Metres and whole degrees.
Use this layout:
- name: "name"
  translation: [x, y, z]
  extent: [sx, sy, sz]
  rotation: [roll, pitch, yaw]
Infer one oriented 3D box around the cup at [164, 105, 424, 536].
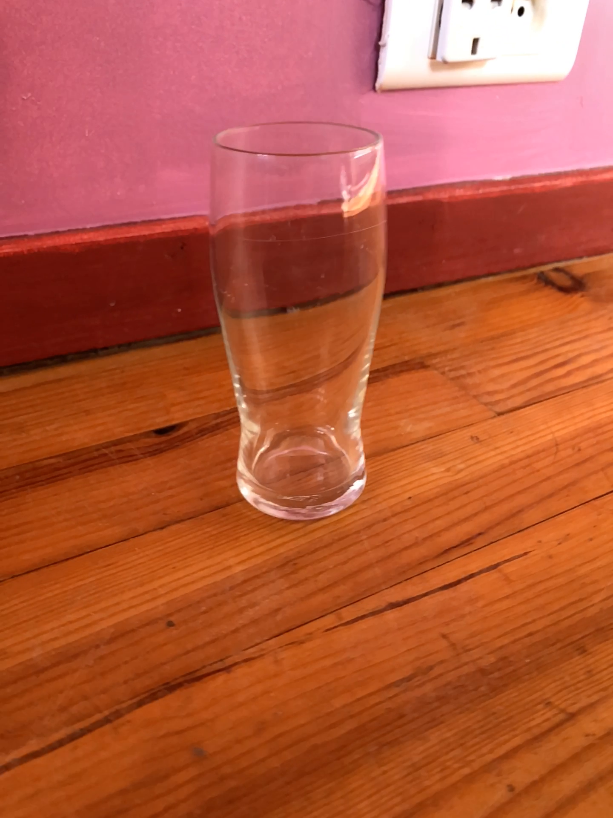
- name: "cup"
  translation: [-0.006, -0.035, 0.265]
  extent: [0.064, 0.143, 0.060]
  rotation: [1, 30, -1]
